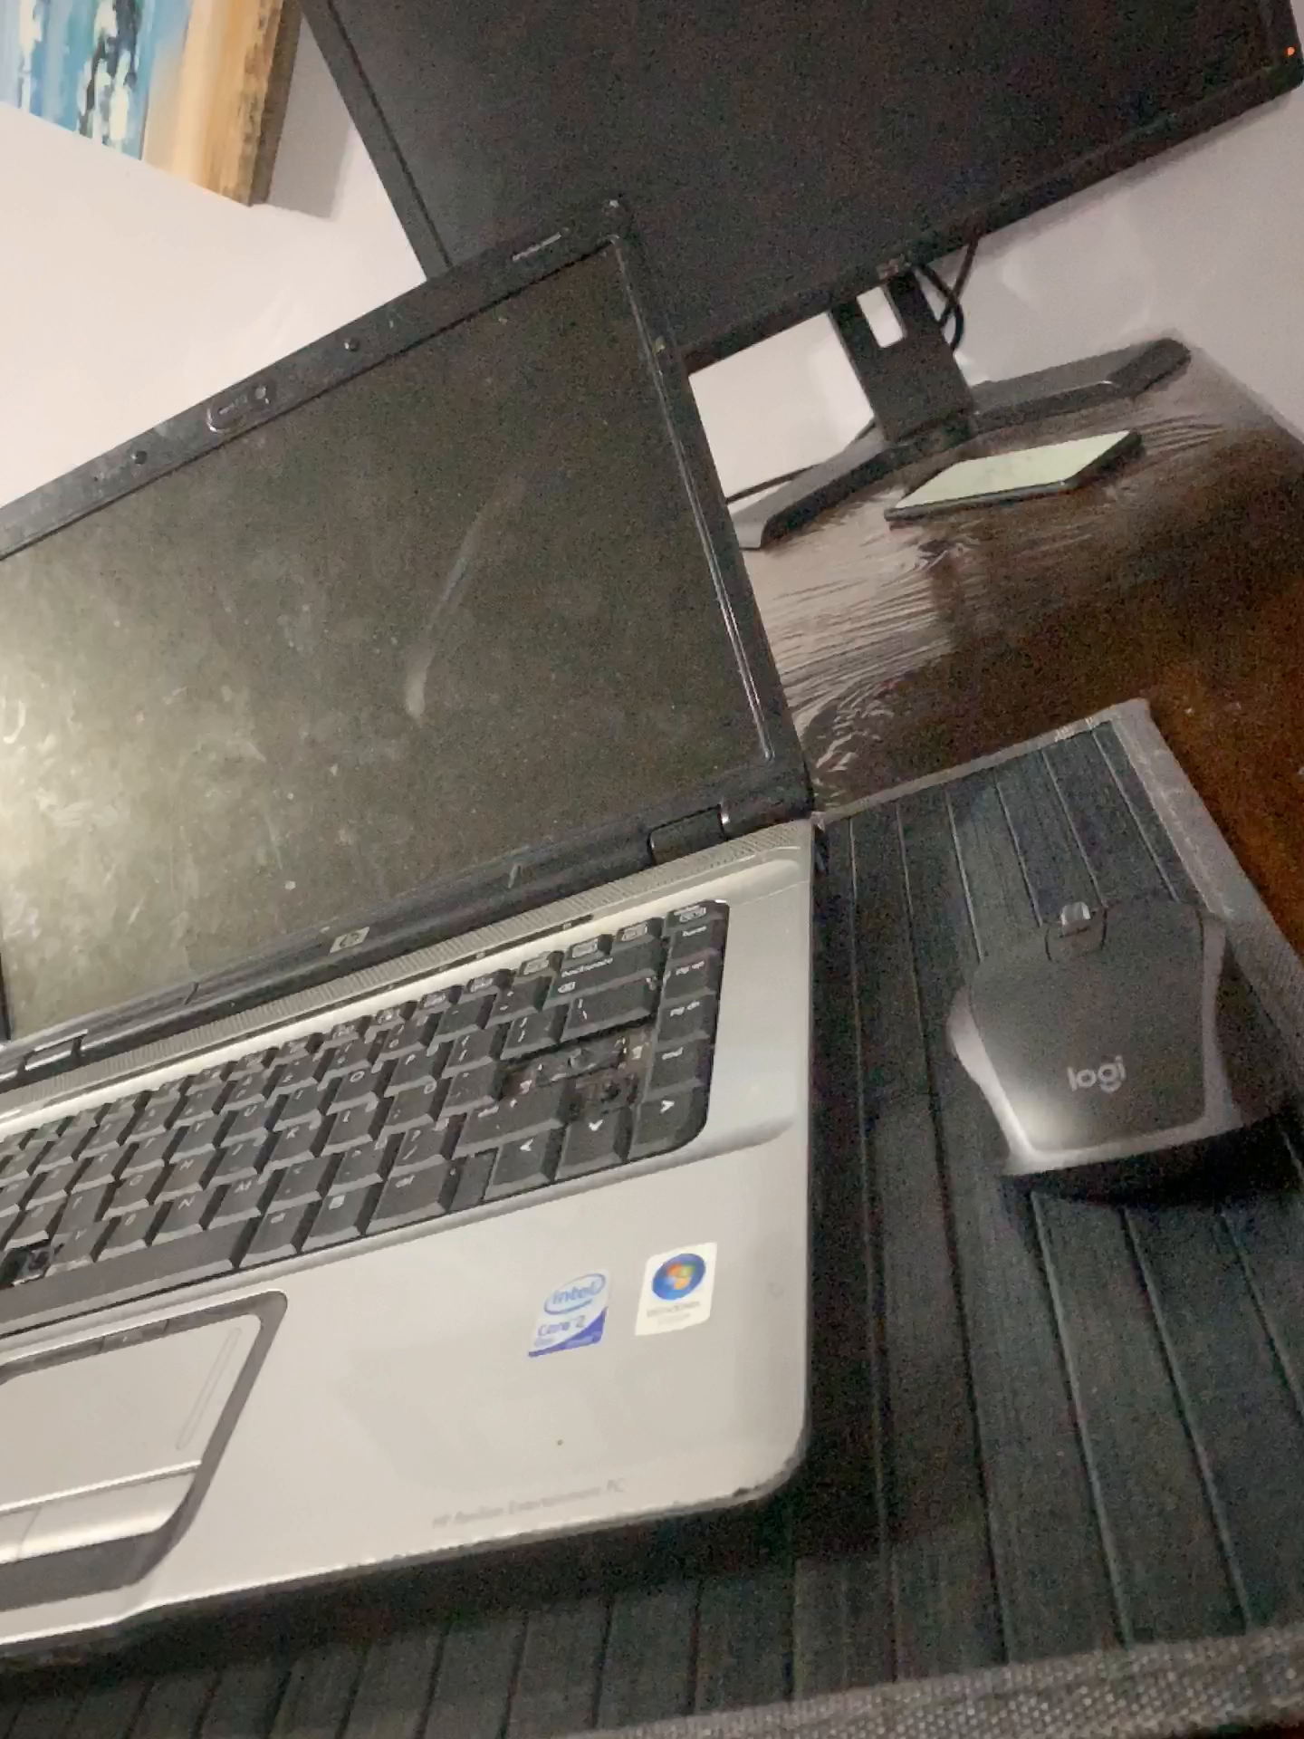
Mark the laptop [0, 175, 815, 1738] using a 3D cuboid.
[{"bbox_3d":[-0.151,-0.026,0.407,0.349,0.186,0.404,-19,25,17],"label":"laptop"}]
